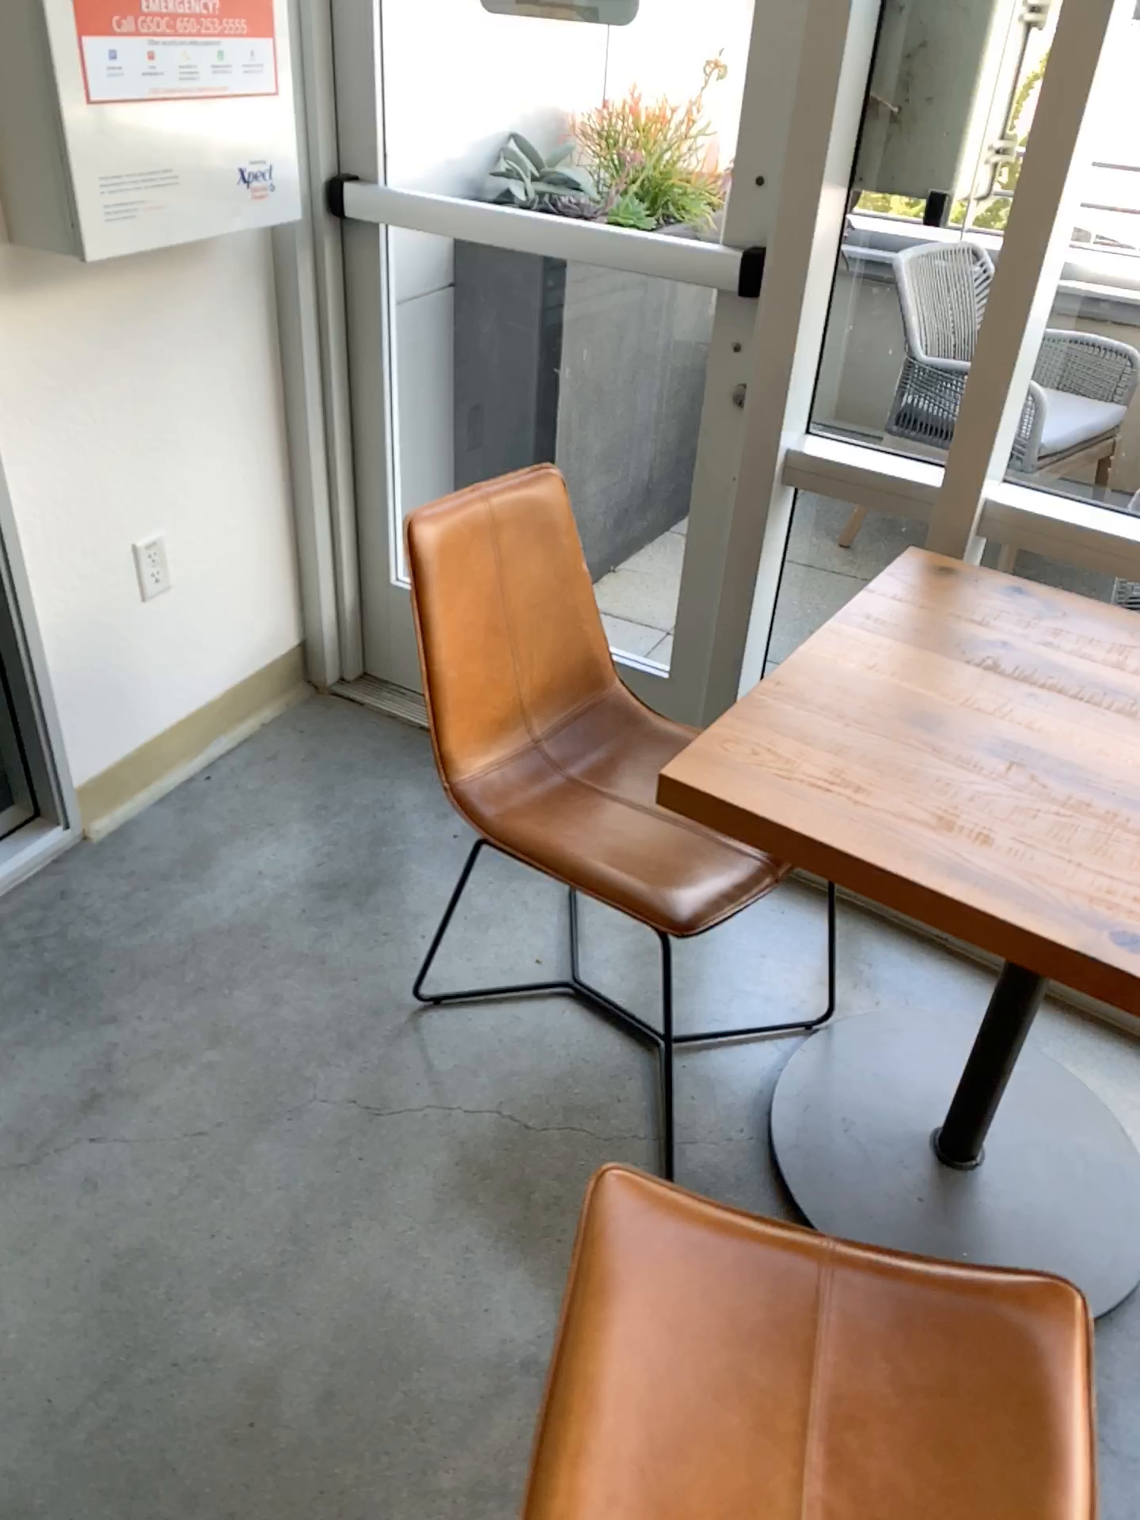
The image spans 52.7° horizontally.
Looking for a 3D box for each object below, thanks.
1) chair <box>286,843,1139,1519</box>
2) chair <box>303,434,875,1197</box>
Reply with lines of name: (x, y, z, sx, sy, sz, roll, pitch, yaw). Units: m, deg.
chair: (0.151, 0.615, 0.973, 0.490, 0.864, 0.543, 11, 39, 9)
chair: (0.026, 0.056, 1.710, 0.552, 0.865, 0.491, 23, 39, 32)
